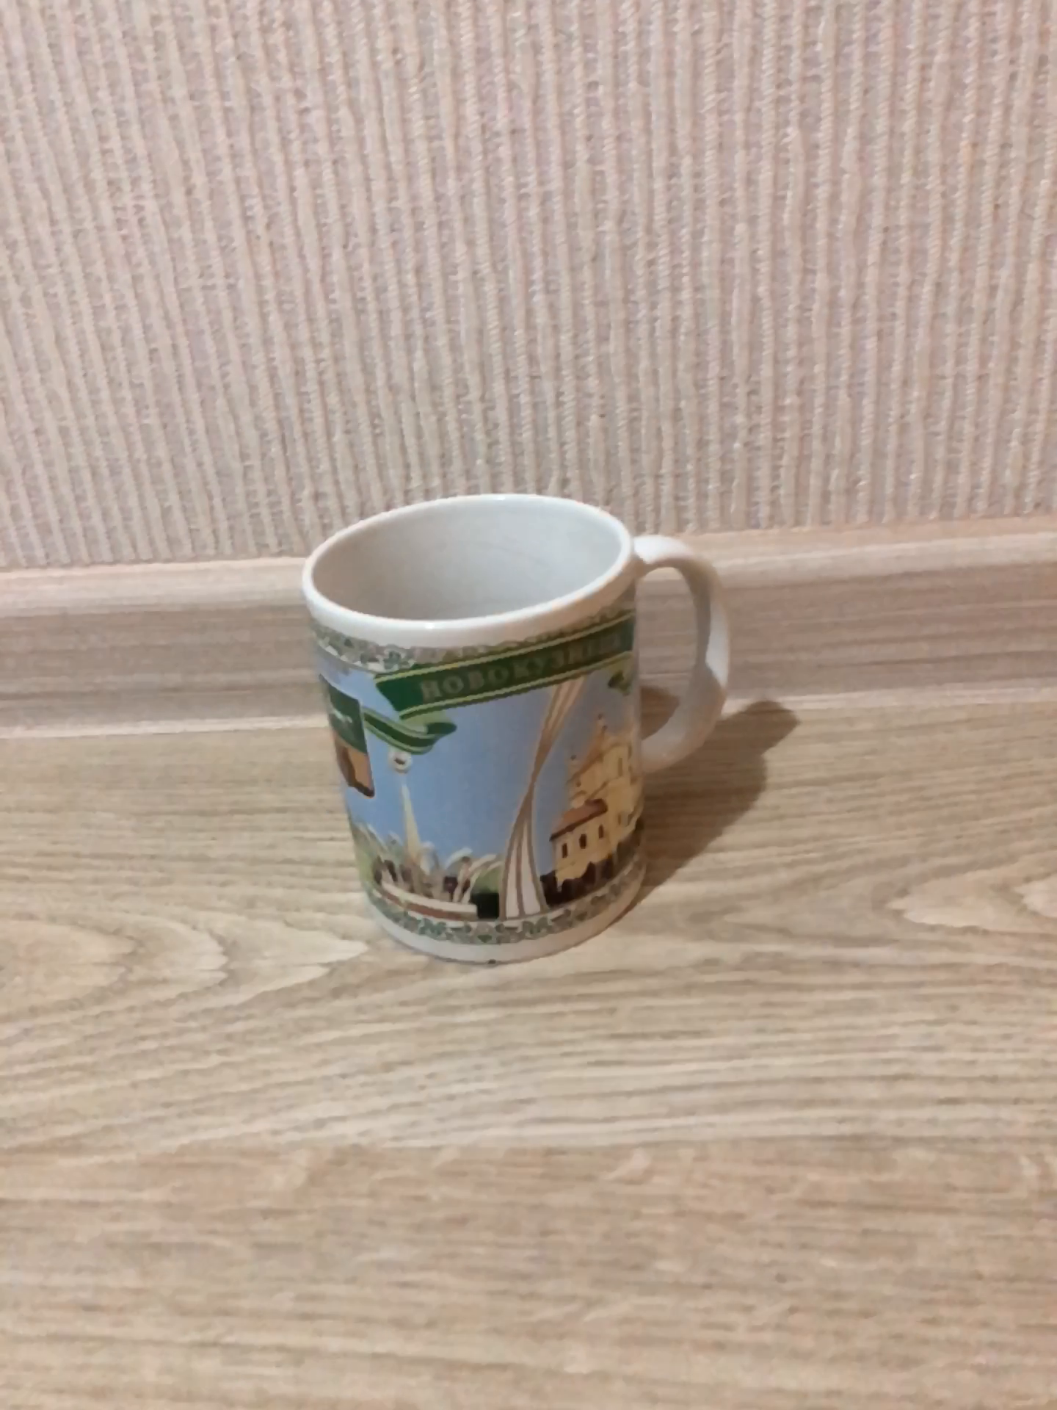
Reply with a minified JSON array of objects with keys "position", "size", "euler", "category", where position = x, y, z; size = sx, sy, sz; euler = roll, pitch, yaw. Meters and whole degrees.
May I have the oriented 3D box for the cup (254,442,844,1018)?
[{"position":[0.006,-0.001,0.307],"size":[0.121,0.096,0.082],"euler":[-17,30,-21],"category":"cup"}]
